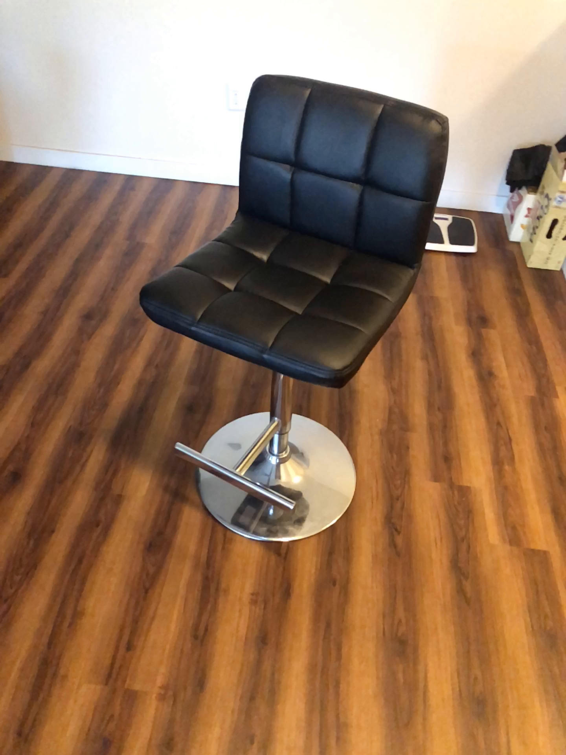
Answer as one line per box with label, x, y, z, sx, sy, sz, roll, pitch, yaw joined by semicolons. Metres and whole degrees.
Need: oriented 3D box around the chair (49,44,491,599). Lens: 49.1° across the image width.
chair;-0.012;-0.104;1.377;0.534;0.952;0.571;23;46;20
